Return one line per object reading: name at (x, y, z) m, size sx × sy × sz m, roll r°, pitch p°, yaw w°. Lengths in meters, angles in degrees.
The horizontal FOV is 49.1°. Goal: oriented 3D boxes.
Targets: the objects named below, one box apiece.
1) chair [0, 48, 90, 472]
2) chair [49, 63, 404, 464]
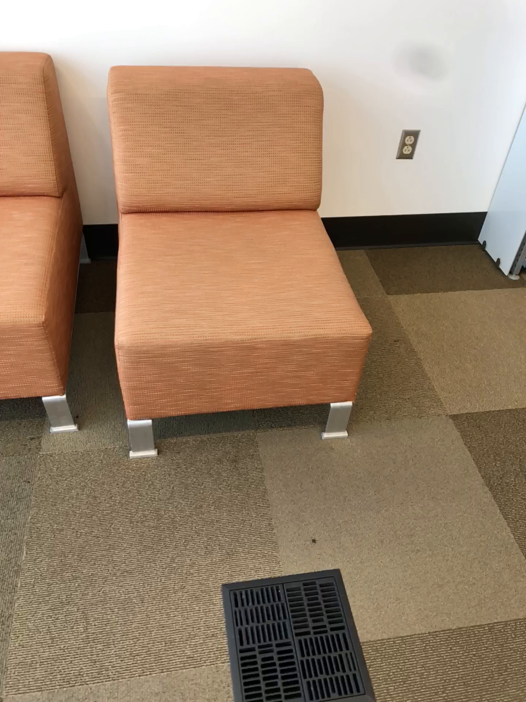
chair at (-0.985, -0.313, 1.698) m, size 0.764 × 0.809 × 0.936 m, roll -5°, pitch 43°, yaw -10°
chair at (-0.147, -0.305, 1.715) m, size 0.694 × 0.759 × 0.926 m, roll -4°, pitch 42°, yaw -9°
